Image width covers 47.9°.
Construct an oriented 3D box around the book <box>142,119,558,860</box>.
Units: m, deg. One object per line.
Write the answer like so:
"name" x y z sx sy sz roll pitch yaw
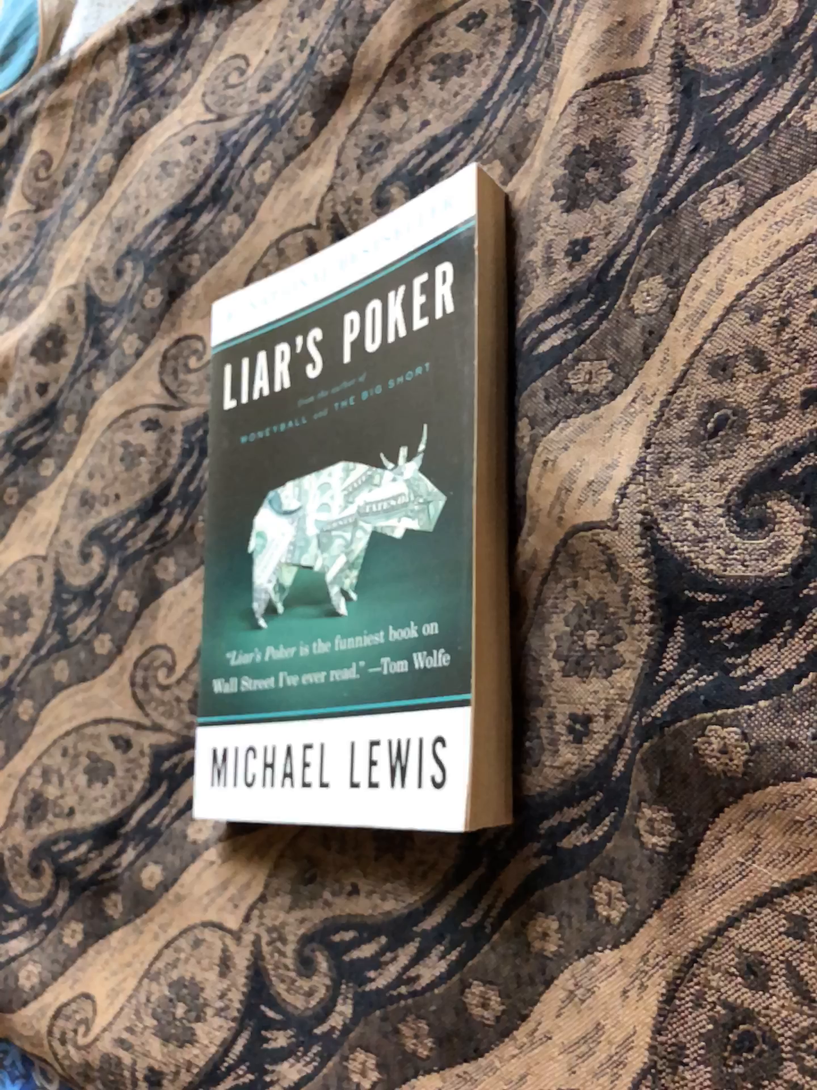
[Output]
"book" -0.025 -0.011 0.316 0.151 0.040 0.210 -11 73 42
